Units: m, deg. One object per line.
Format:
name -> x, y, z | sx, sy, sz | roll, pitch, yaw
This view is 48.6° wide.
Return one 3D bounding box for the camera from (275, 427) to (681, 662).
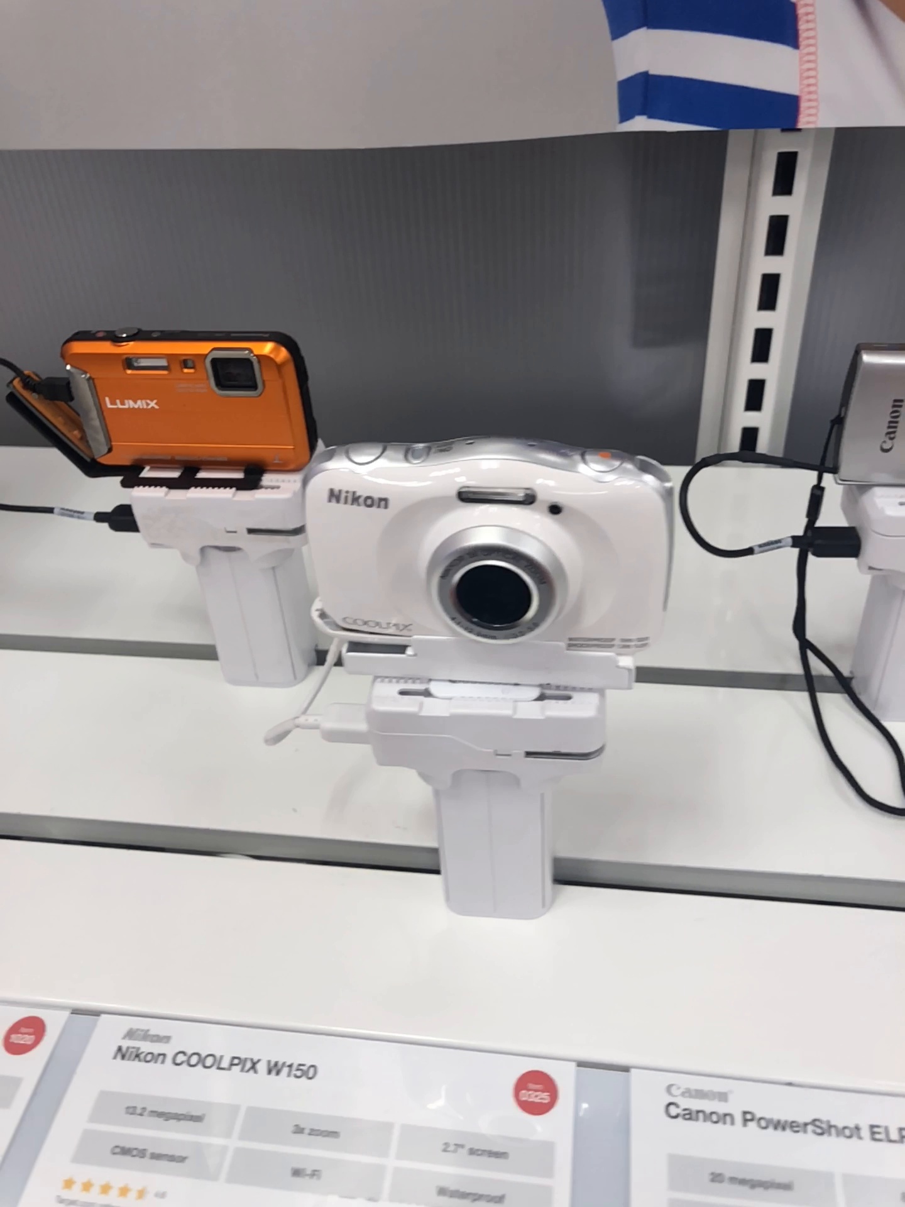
camera -> 0.009, -0.017, 0.287 | 0.105, 0.056, 0.032 | 2, 38, 8
